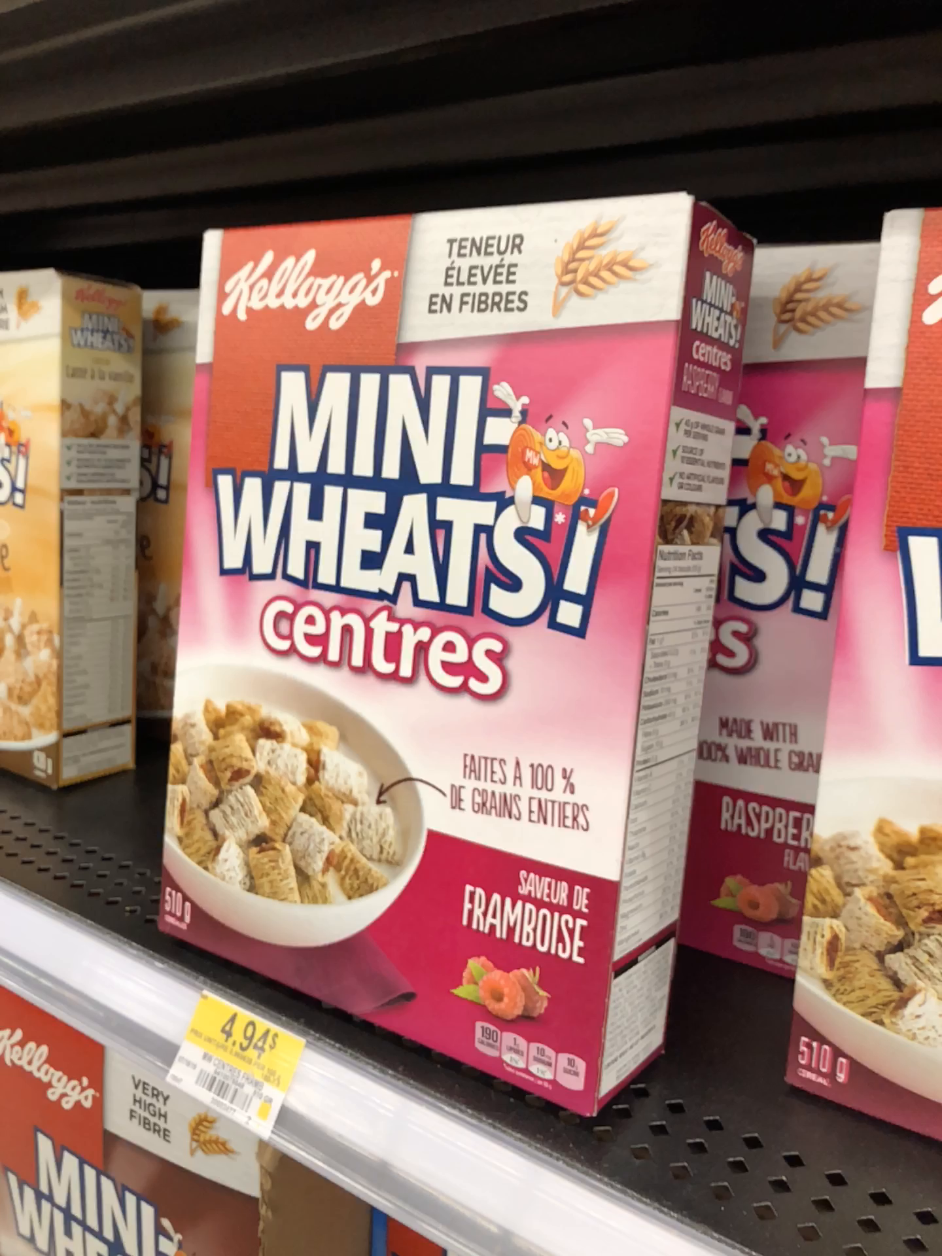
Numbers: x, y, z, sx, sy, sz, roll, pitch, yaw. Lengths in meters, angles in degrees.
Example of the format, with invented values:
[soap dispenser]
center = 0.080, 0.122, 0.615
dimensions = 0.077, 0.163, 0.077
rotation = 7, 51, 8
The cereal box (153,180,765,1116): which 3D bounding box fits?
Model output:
[cereal box]
center = -0.015, -0.003, 0.366
dimensions = 0.190, 0.259, 0.070
rotation = 9, 9, 33
